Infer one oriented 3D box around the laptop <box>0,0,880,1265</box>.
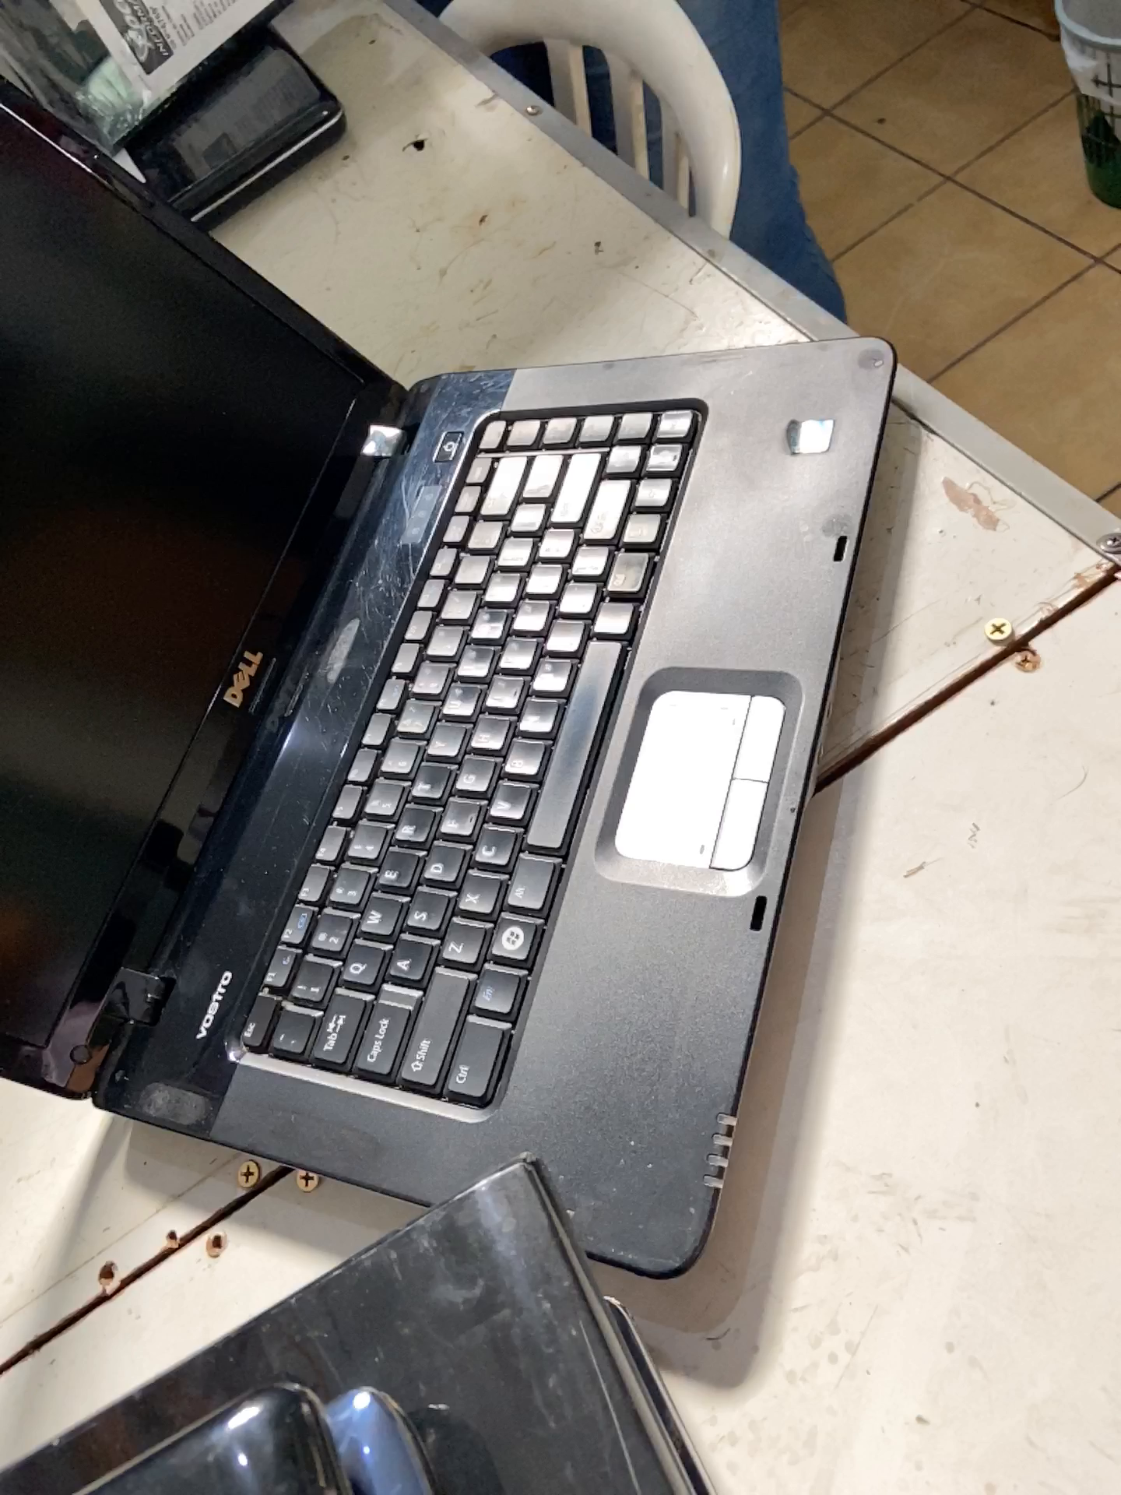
[{"bbox_3d":[-0.108,-0.072,0.412,0.353,0.203,0.365,4,62,28],"label":"laptop"}]
